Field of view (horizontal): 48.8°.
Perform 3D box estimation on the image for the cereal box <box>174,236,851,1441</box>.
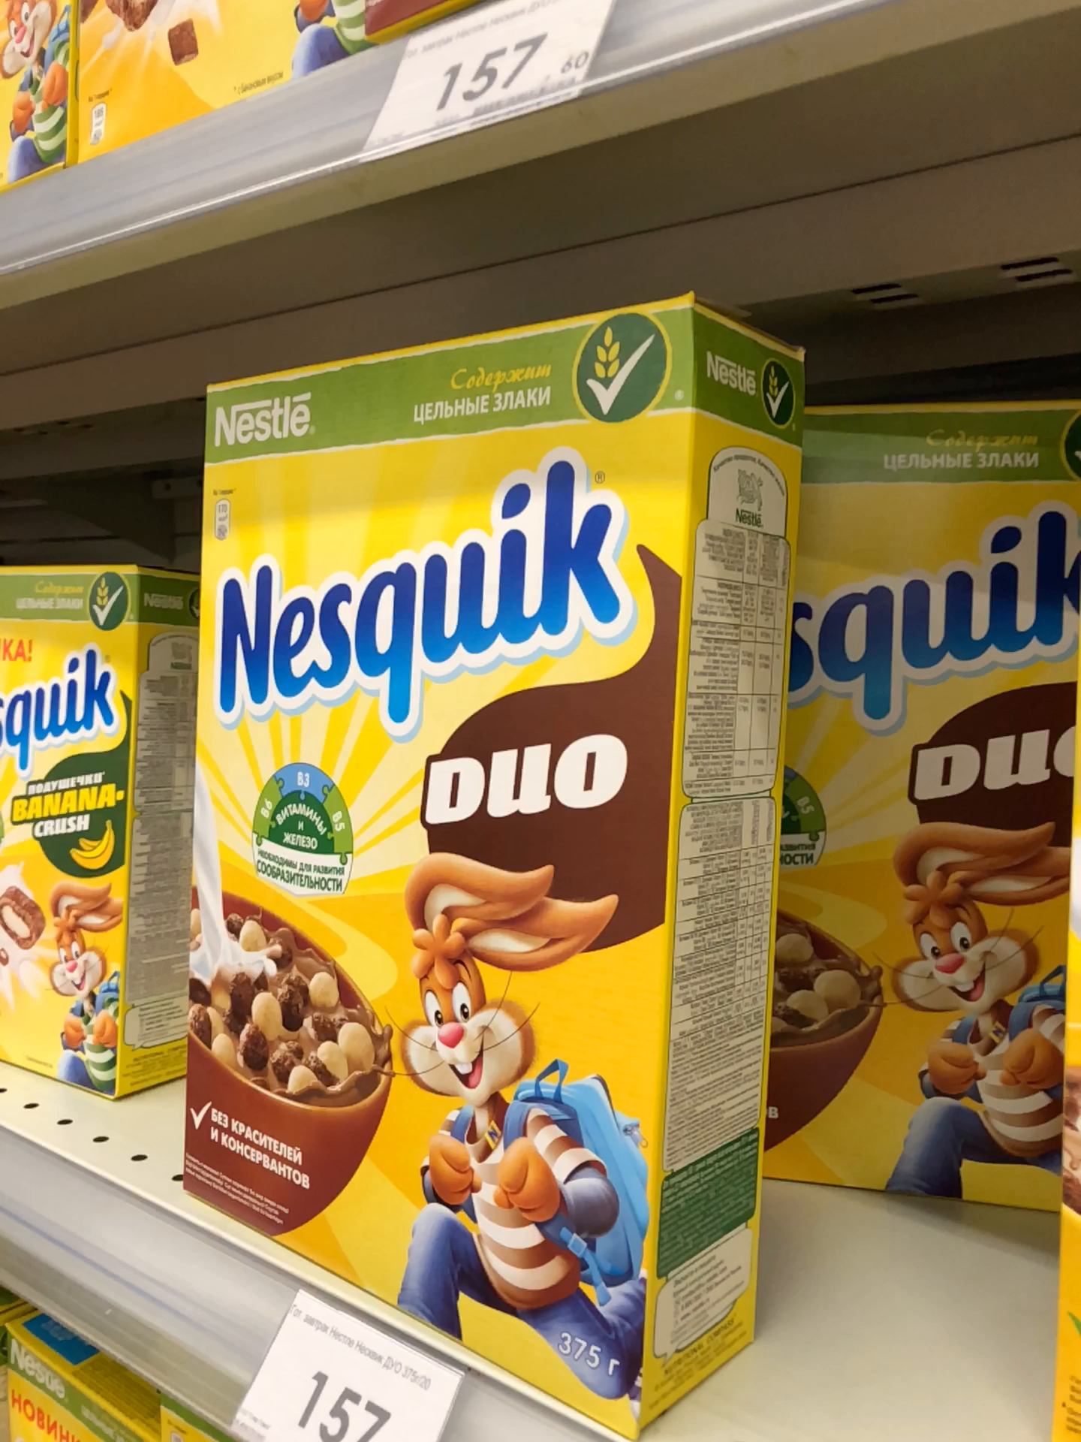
[{"bbox_3d":[-0.021,0.024,0.359,0.200,0.280,0.060,5,2,40],"label":"cereal box"}]
